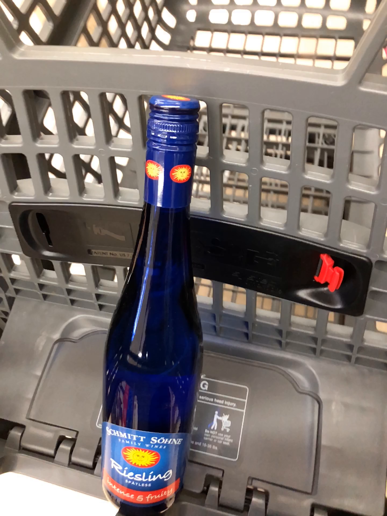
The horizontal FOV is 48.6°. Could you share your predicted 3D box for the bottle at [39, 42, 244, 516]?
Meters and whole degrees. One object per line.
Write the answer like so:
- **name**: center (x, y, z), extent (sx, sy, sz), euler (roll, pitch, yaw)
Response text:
- **bottle**: center (-0.041, 0.033, 0.336), extent (0.100, 0.100, 0.350), euler (10, 115, 7)
